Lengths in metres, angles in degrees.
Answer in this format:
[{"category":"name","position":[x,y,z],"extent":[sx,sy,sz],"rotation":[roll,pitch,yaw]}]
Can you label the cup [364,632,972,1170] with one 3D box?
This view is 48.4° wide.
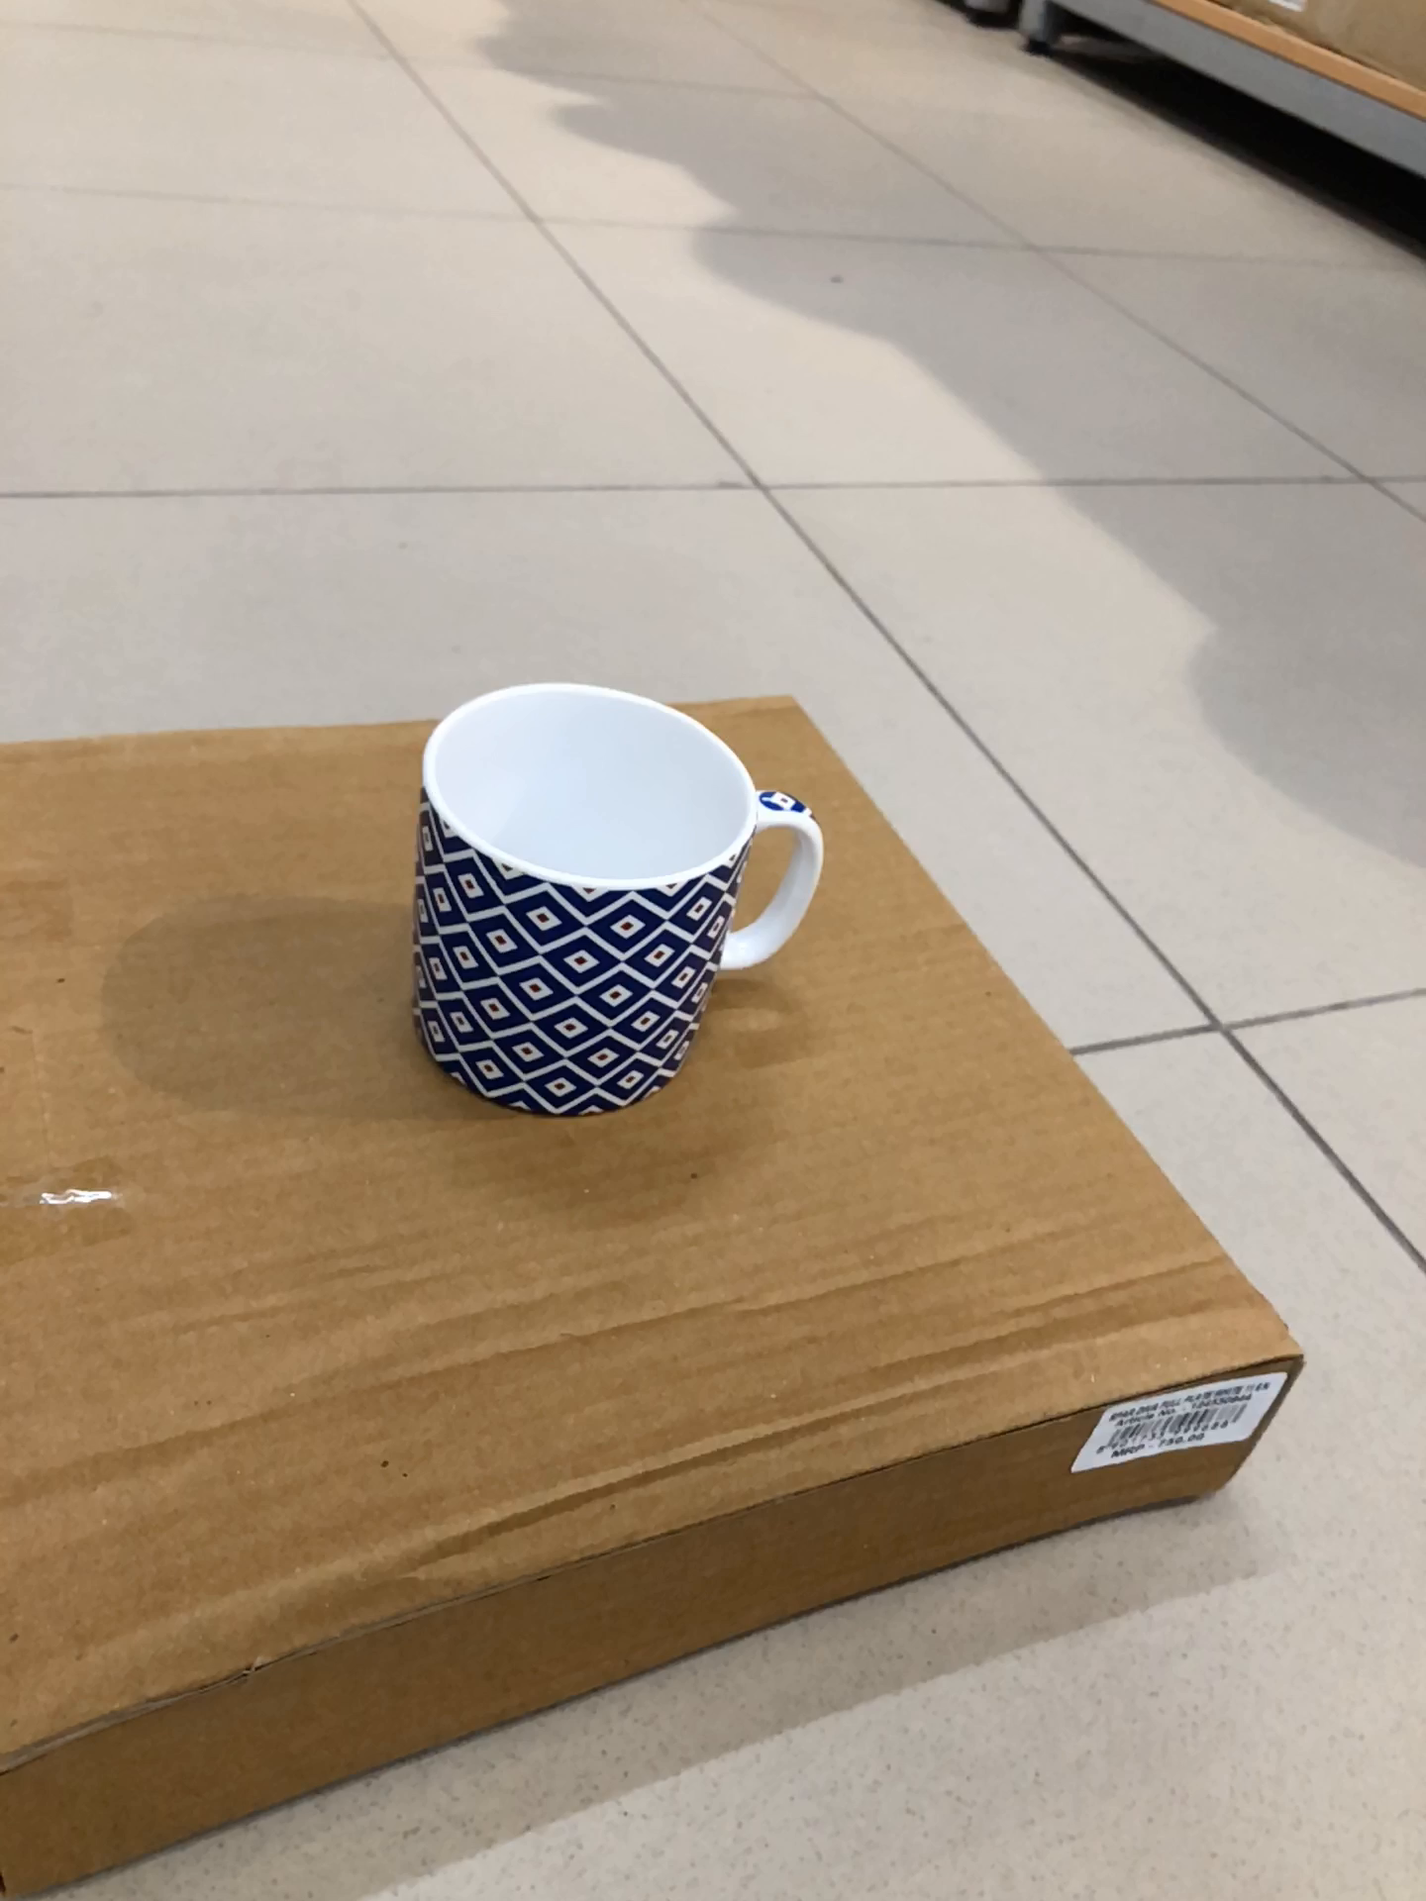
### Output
[{"category":"cup","position":[-0.016,-0.016,0.372],"extent":[0.110,0.079,0.080],"rotation":[-9,44,-24]}]
